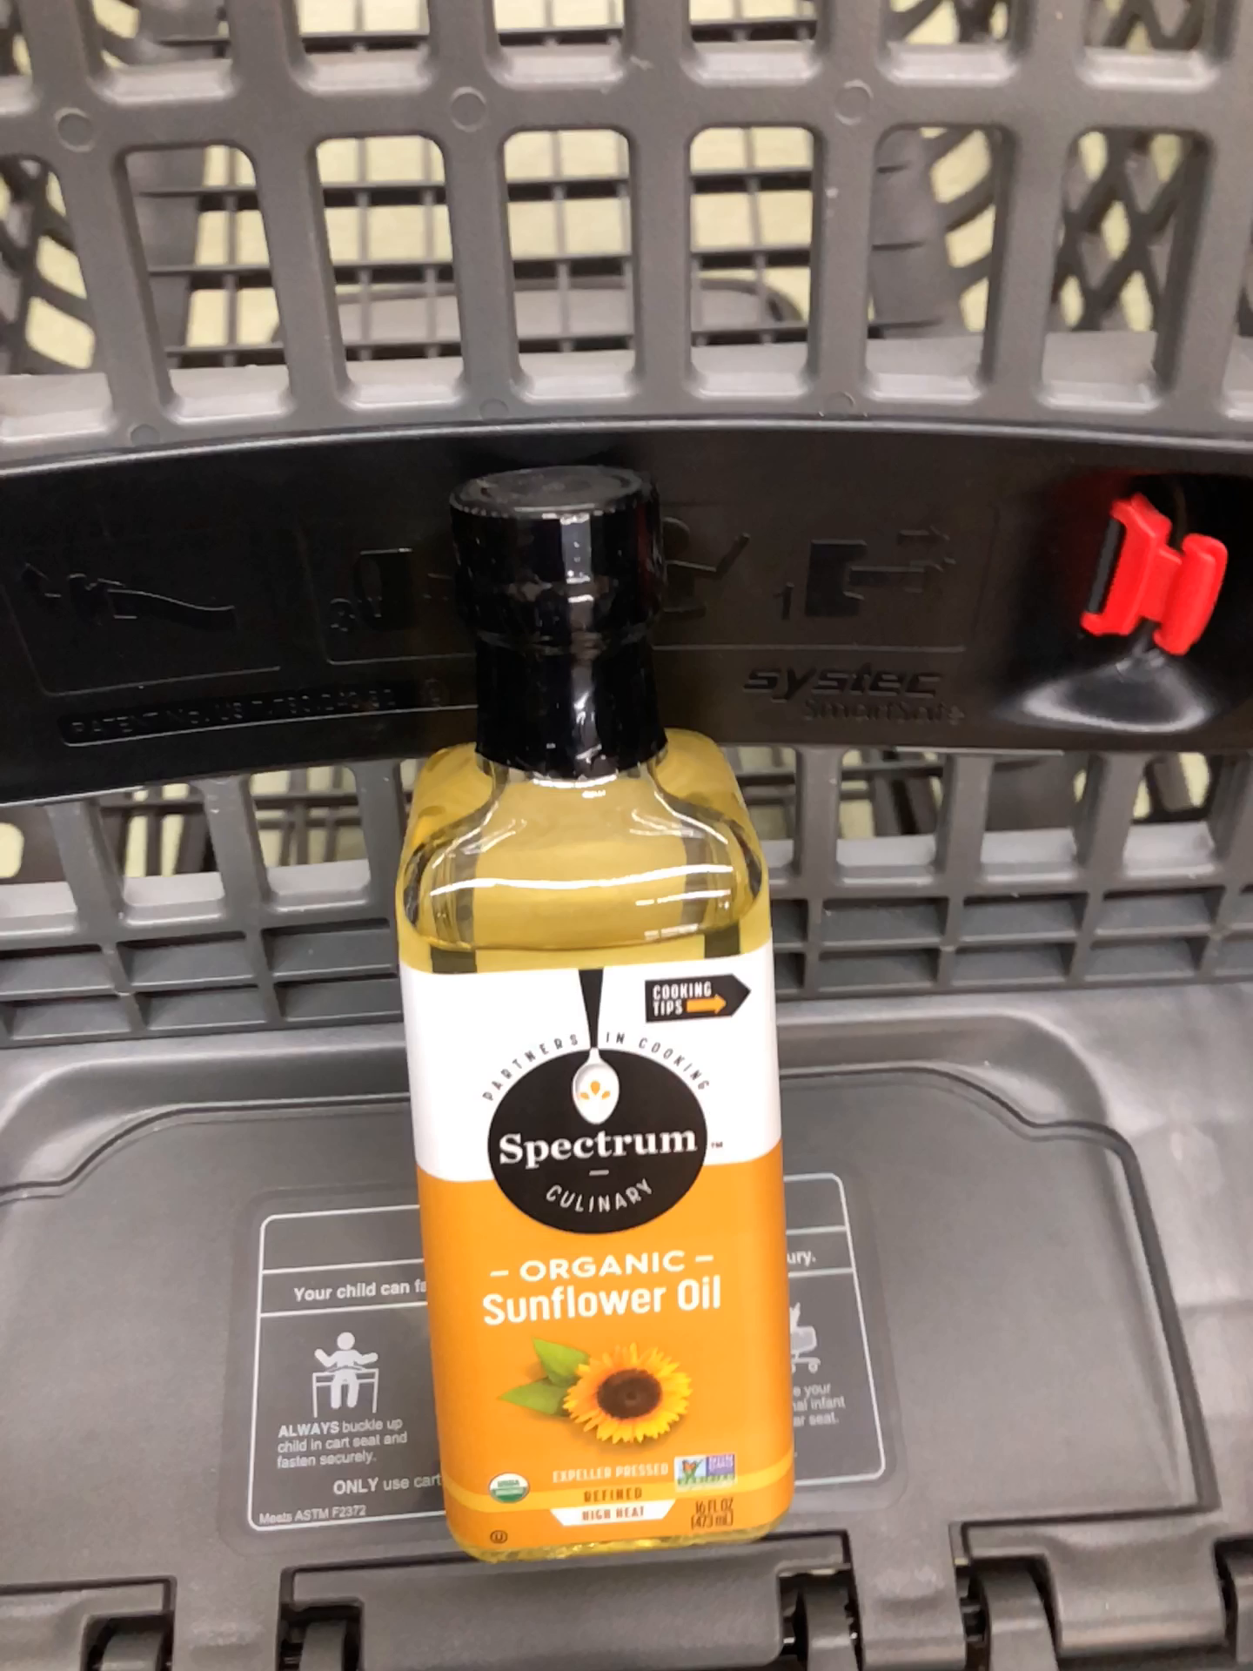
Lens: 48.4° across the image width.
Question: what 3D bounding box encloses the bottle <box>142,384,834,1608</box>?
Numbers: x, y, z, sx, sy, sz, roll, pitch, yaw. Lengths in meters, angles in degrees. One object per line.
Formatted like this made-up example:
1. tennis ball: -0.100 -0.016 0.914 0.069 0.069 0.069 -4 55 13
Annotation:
1. bottle: -0.014 0.035 0.240 0.080 0.200 0.070 -4 29 -3
